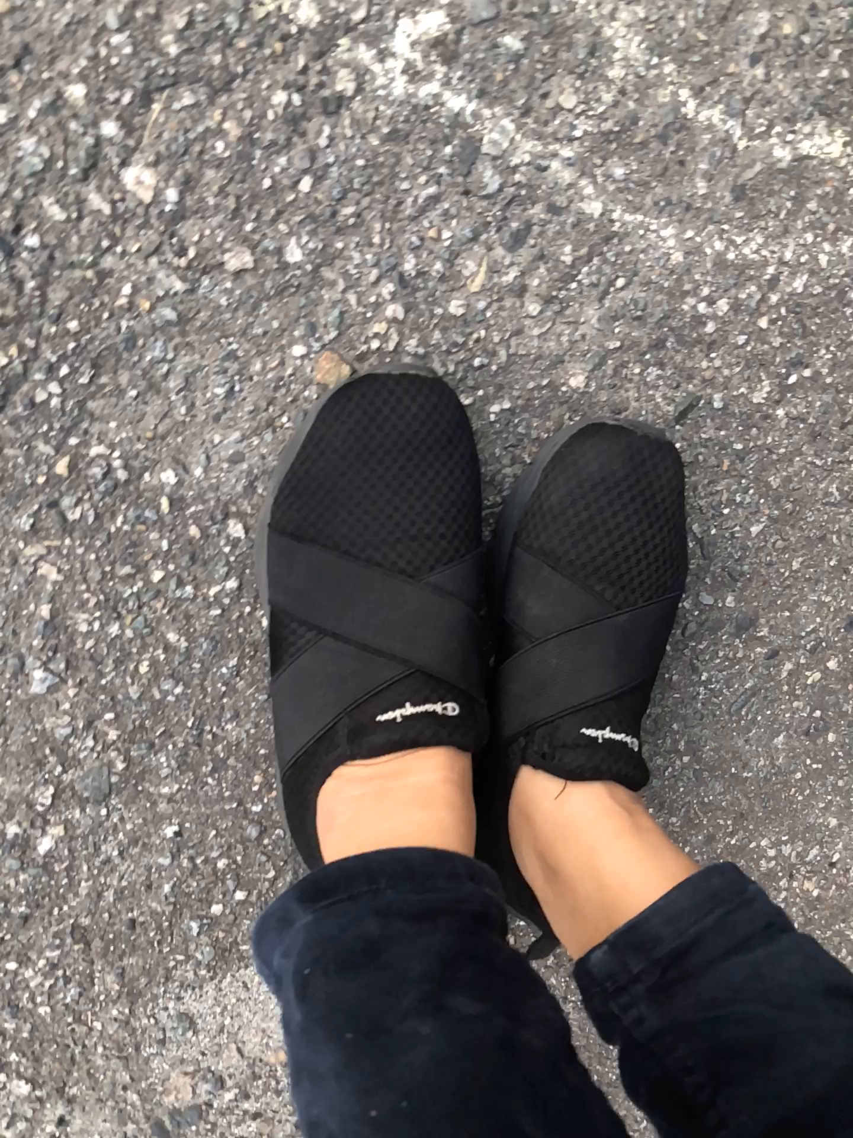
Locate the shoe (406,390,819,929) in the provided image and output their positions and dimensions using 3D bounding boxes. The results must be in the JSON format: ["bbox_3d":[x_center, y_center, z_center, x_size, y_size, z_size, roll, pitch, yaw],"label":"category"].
[{"bbox_3d":[0.075,0.043,0.426,0.100,0.080,0.220,10,105,-20],"label":"shoe"}]

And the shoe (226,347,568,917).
[{"bbox_3d":[-0.021,0.028,0.394,0.100,0.070,0.220,4,107,-18],"label":"shoe"}]
